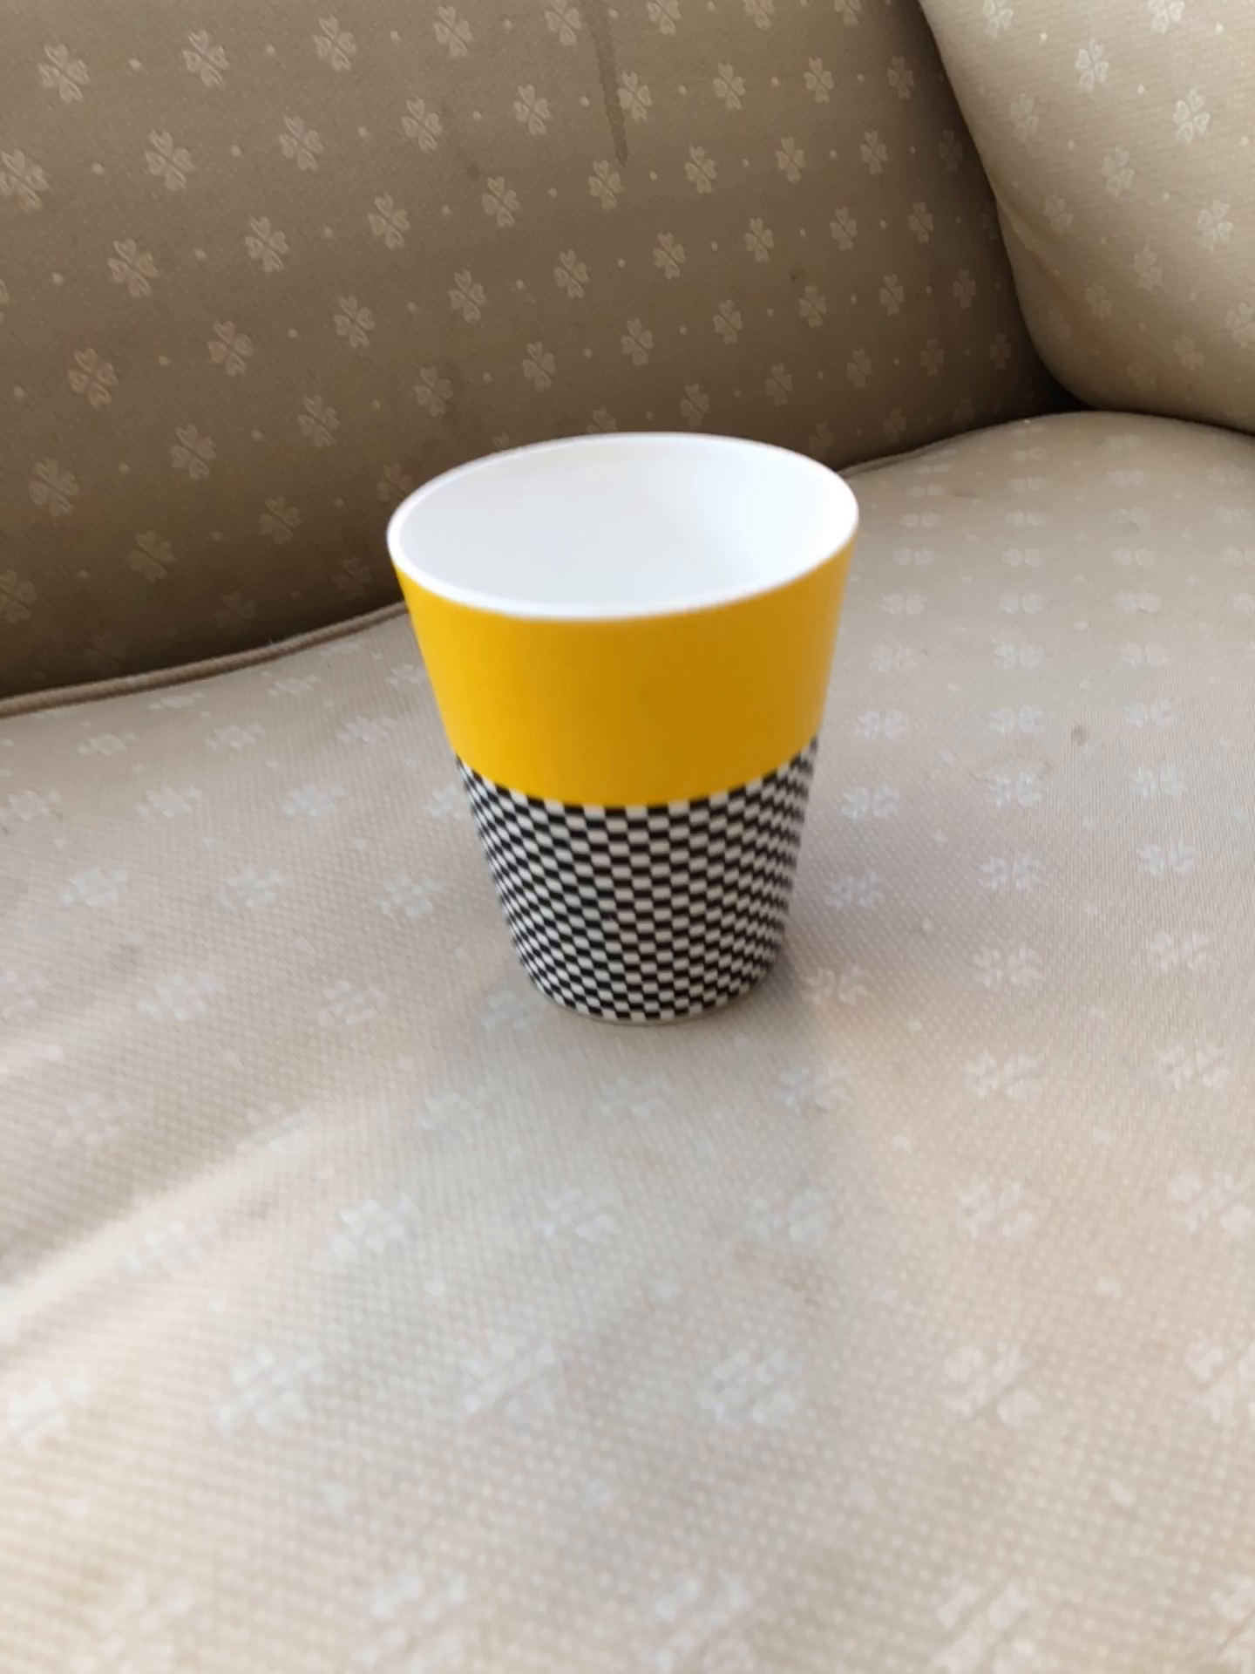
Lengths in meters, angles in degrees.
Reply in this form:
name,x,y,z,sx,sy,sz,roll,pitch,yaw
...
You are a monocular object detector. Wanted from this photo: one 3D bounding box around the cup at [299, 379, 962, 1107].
name,x,y,z,sx,sy,sz,roll,pitch,yaw
cup,-0.004,-0.027,0.288,0.087,0.090,0.112,-17,37,-17
